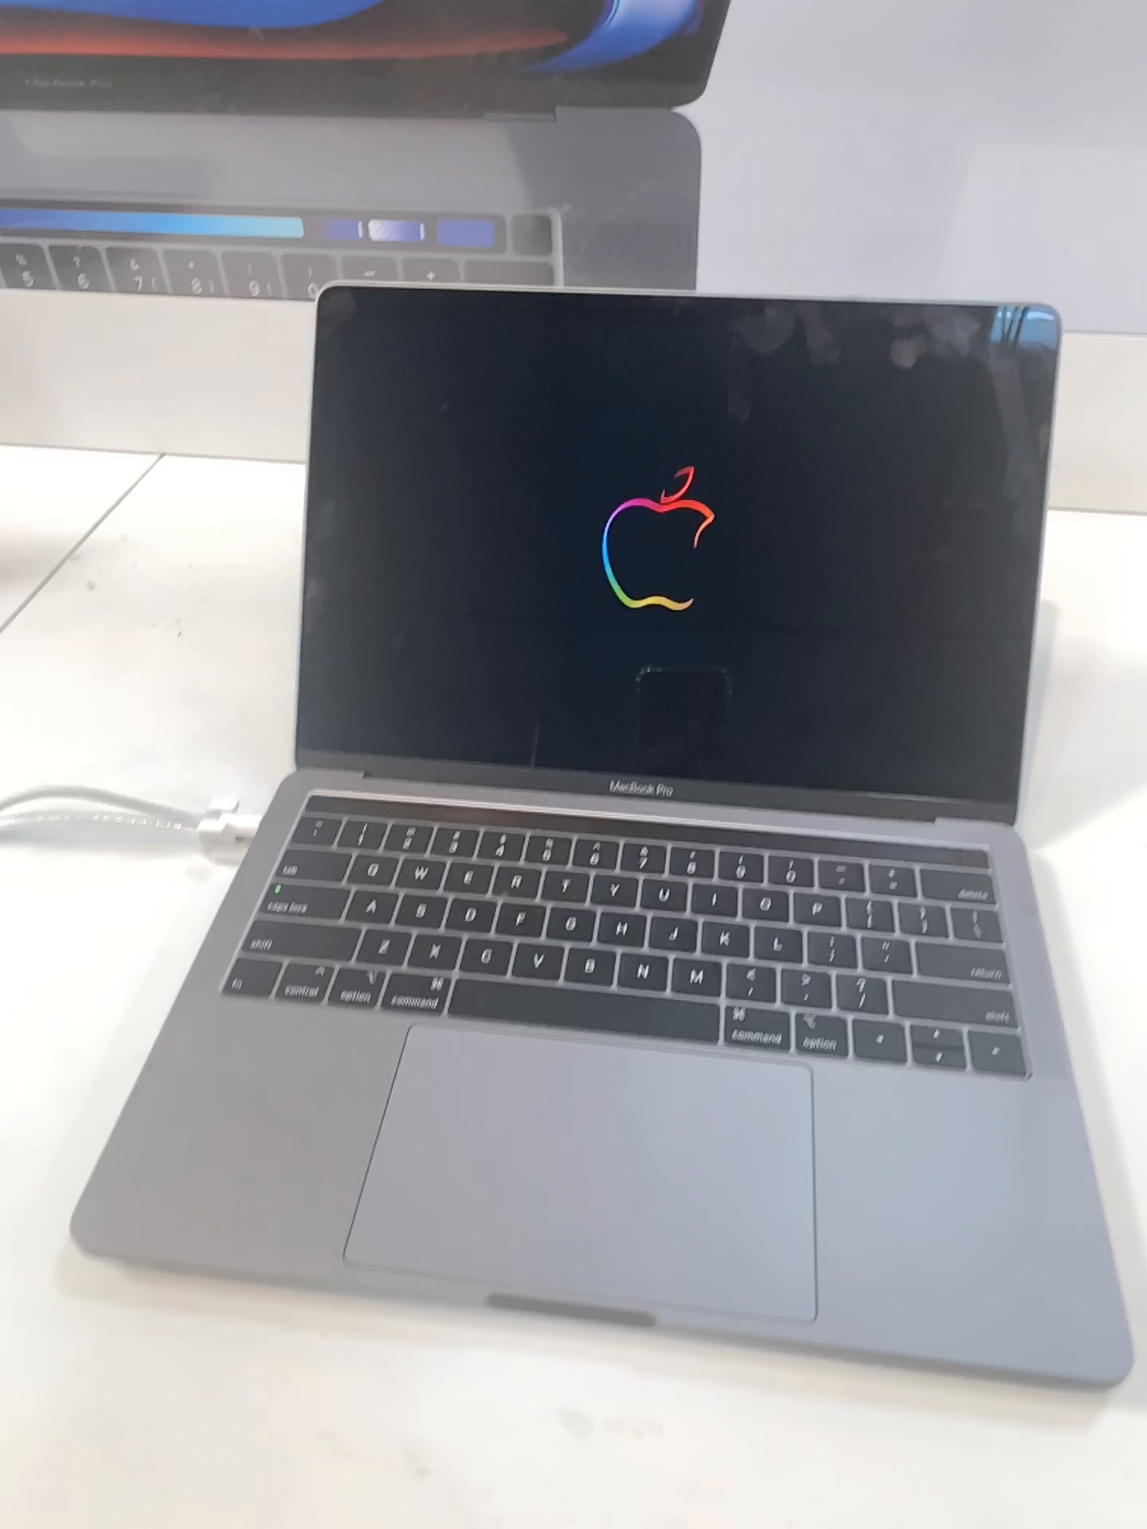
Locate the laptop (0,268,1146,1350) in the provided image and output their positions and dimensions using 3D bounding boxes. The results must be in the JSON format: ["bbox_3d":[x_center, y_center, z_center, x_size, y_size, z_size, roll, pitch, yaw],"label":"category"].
[{"bbox_3d":[0.026,-0.023,0.382,0.284,0.150,0.316,4,43,6],"label":"laptop"}]
